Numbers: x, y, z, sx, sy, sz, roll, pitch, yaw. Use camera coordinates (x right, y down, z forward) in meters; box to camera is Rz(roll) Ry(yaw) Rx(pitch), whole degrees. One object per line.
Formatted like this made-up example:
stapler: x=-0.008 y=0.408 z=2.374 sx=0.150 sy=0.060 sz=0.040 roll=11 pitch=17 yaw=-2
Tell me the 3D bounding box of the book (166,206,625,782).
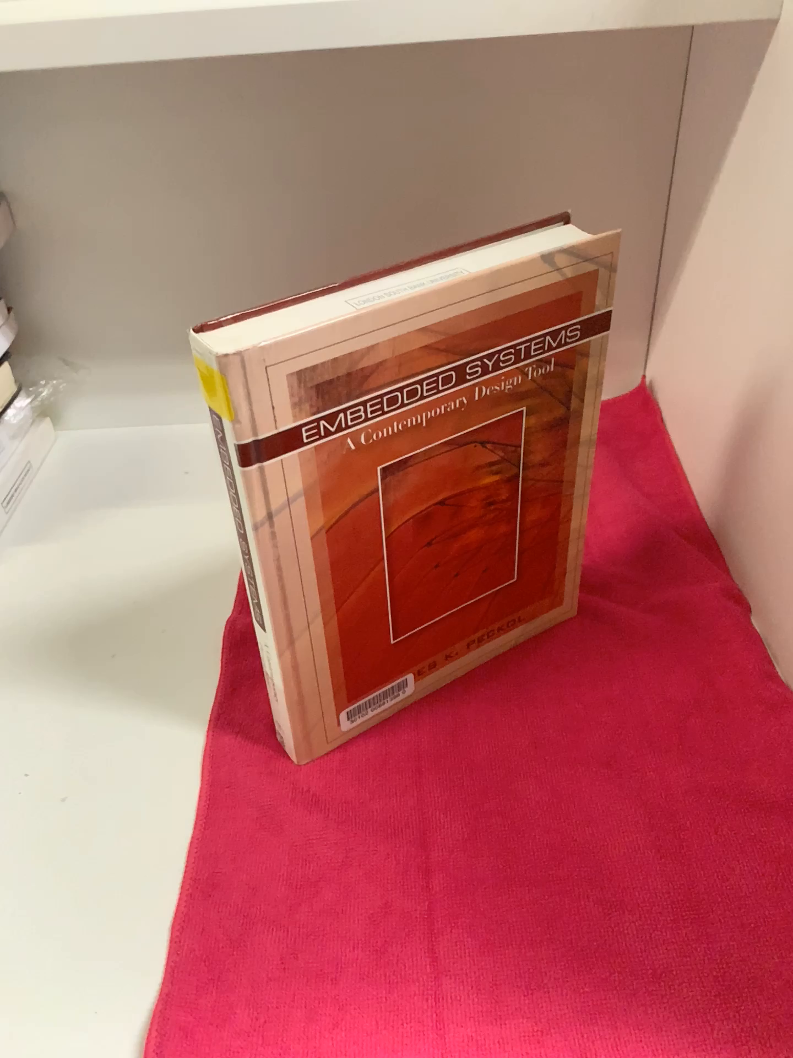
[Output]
book: x=0.014 y=-0.012 z=0.434 sx=0.212 sy=0.258 sz=0.044 roll=-24 pitch=42 yaw=-24
